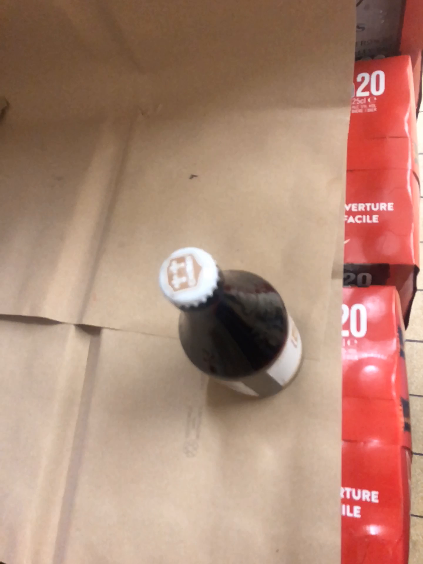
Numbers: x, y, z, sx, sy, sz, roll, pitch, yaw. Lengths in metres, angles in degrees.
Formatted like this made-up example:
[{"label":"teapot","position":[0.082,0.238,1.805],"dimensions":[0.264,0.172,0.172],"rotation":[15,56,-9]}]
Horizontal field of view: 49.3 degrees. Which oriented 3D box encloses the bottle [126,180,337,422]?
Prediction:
[{"label":"bottle","position":[0.025,0.029,0.269],"dimensions":[0.070,0.170,0.080],"rotation":[-18,68,9]}]
